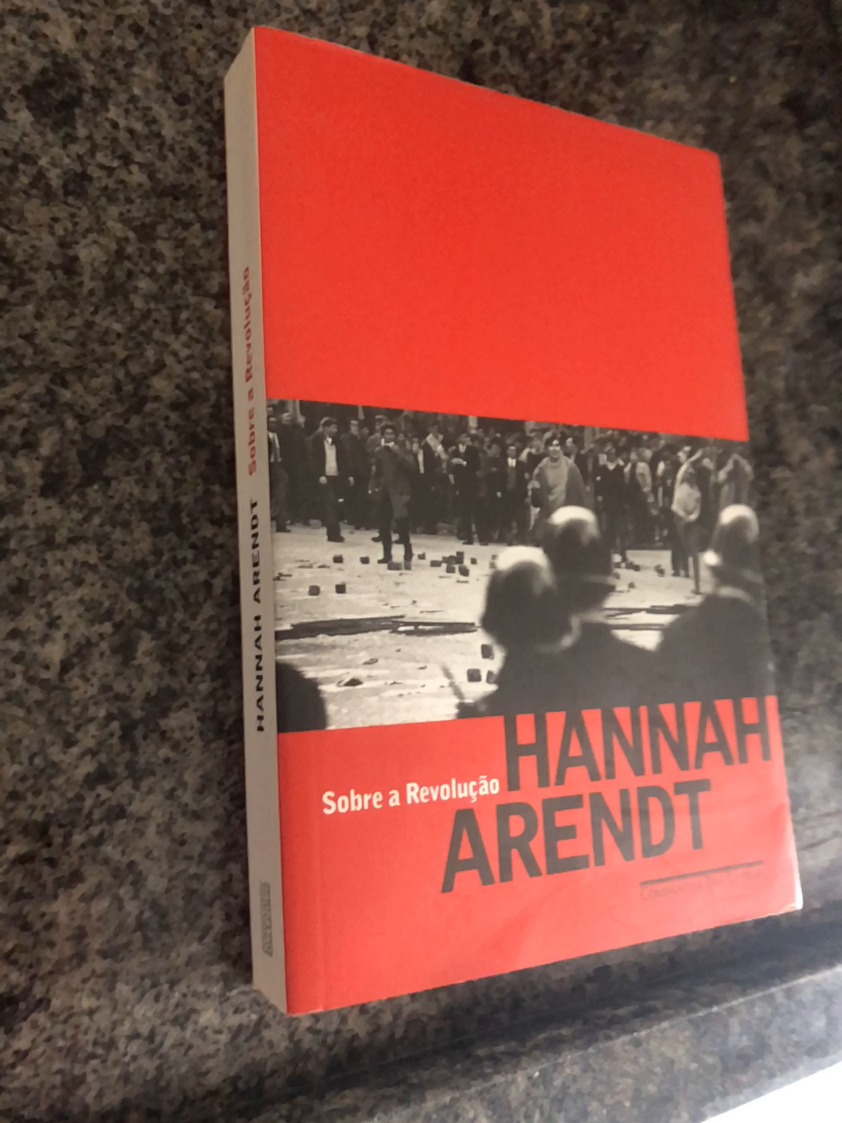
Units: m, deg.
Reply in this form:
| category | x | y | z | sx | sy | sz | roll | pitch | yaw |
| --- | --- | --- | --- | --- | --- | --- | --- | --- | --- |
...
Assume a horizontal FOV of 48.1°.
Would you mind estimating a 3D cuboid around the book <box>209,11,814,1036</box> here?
| category | x | y | z | sx | sy | sz | roll | pitch | yaw |
| --- | --- | --- | --- | --- | --- | --- | --- | --- | --- |
| book | 0.025 | -0.012 | 0.236 | 0.145 | 0.030 | 0.210 | 1 | 82 | -27 |
